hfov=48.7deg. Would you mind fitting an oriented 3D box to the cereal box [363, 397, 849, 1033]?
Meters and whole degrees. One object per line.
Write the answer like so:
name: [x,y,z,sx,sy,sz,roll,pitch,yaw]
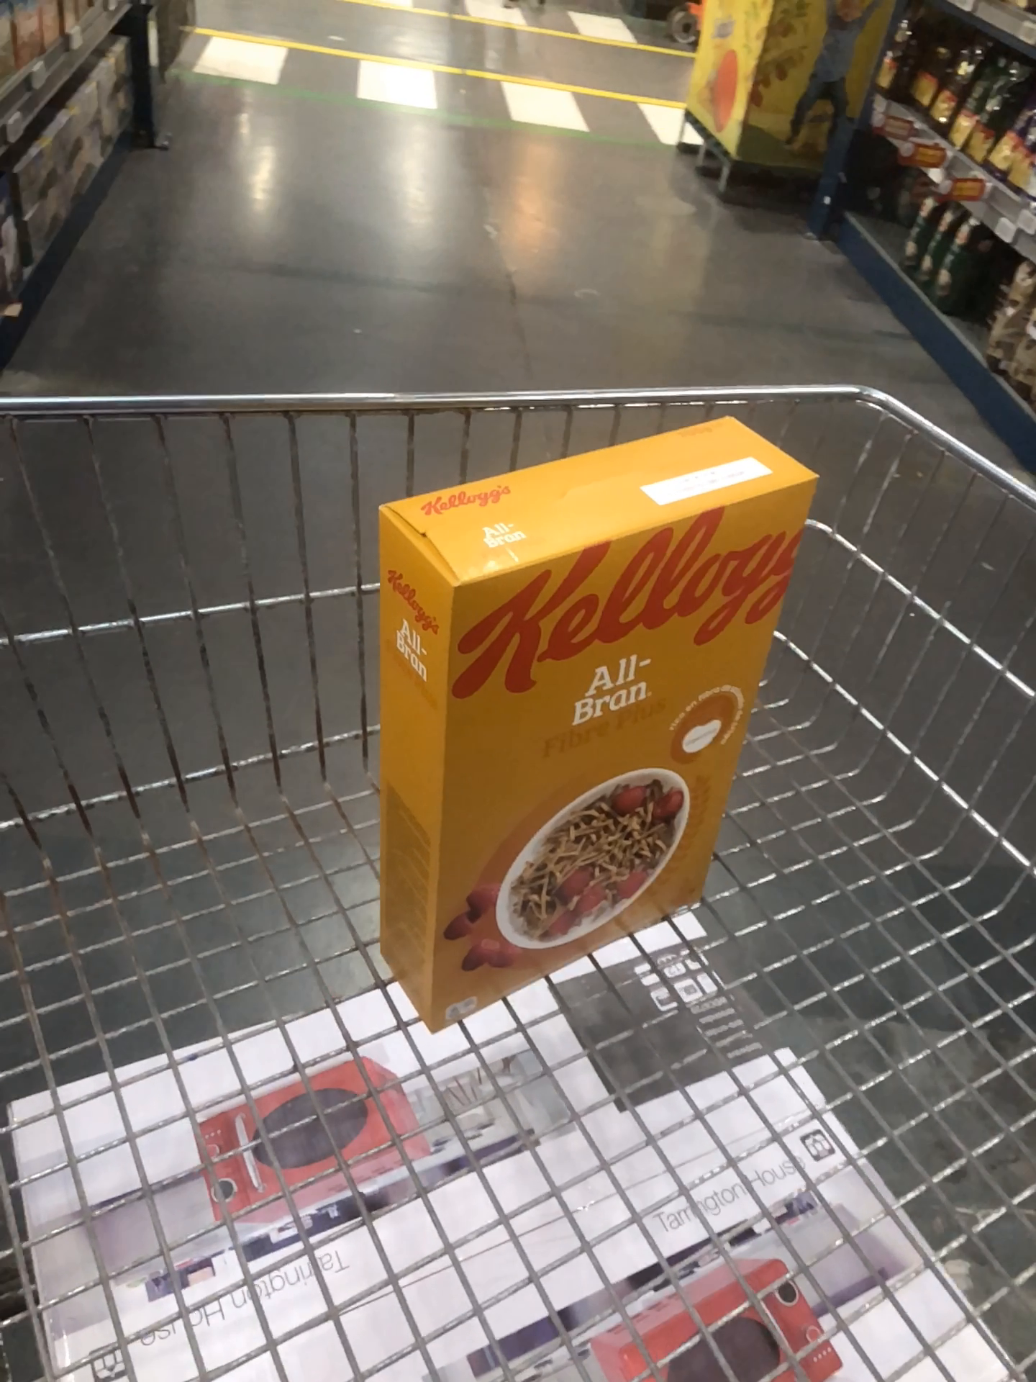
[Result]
cereal box: [0.030,0.020,0.571,0.201,0.289,0.070,-20,48,-26]
